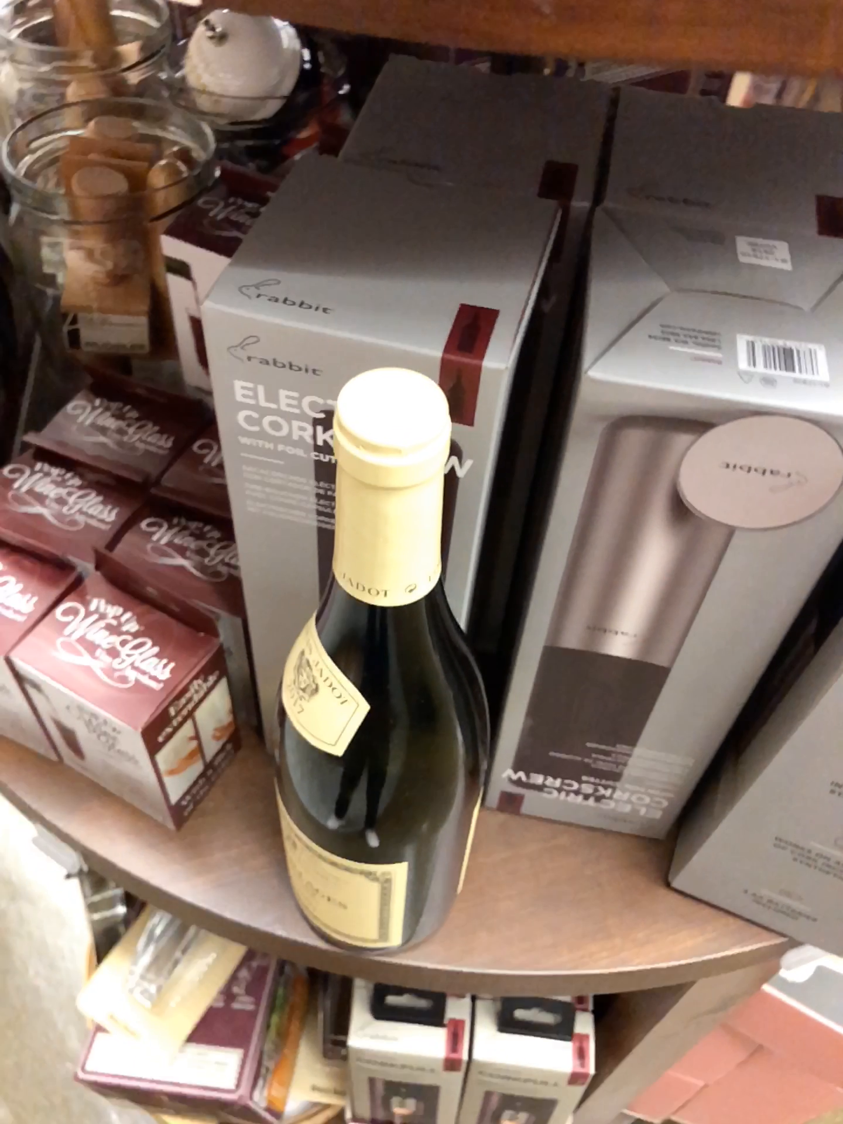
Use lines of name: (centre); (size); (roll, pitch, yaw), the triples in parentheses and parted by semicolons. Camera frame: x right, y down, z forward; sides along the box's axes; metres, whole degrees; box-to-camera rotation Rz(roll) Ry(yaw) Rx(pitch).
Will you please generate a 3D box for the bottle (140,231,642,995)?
bottle: (-0.015, 0.049, 0.339); (0.090, 0.299, 0.090); (1, 50, -1)
